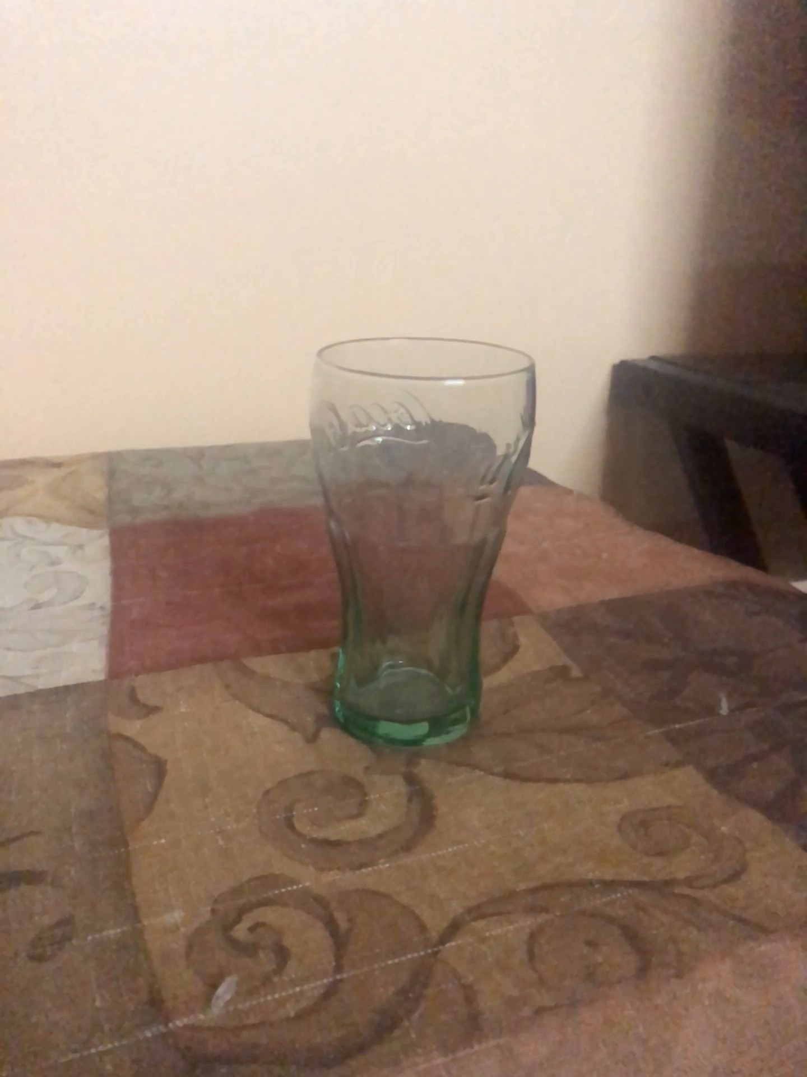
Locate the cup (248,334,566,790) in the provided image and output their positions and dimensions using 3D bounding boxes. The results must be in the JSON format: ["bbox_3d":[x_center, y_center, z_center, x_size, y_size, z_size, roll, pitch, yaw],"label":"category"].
[{"bbox_3d":[0.003,0.001,0.270,0.070,0.110,0.070,2,20,-1],"label":"cup"}]
